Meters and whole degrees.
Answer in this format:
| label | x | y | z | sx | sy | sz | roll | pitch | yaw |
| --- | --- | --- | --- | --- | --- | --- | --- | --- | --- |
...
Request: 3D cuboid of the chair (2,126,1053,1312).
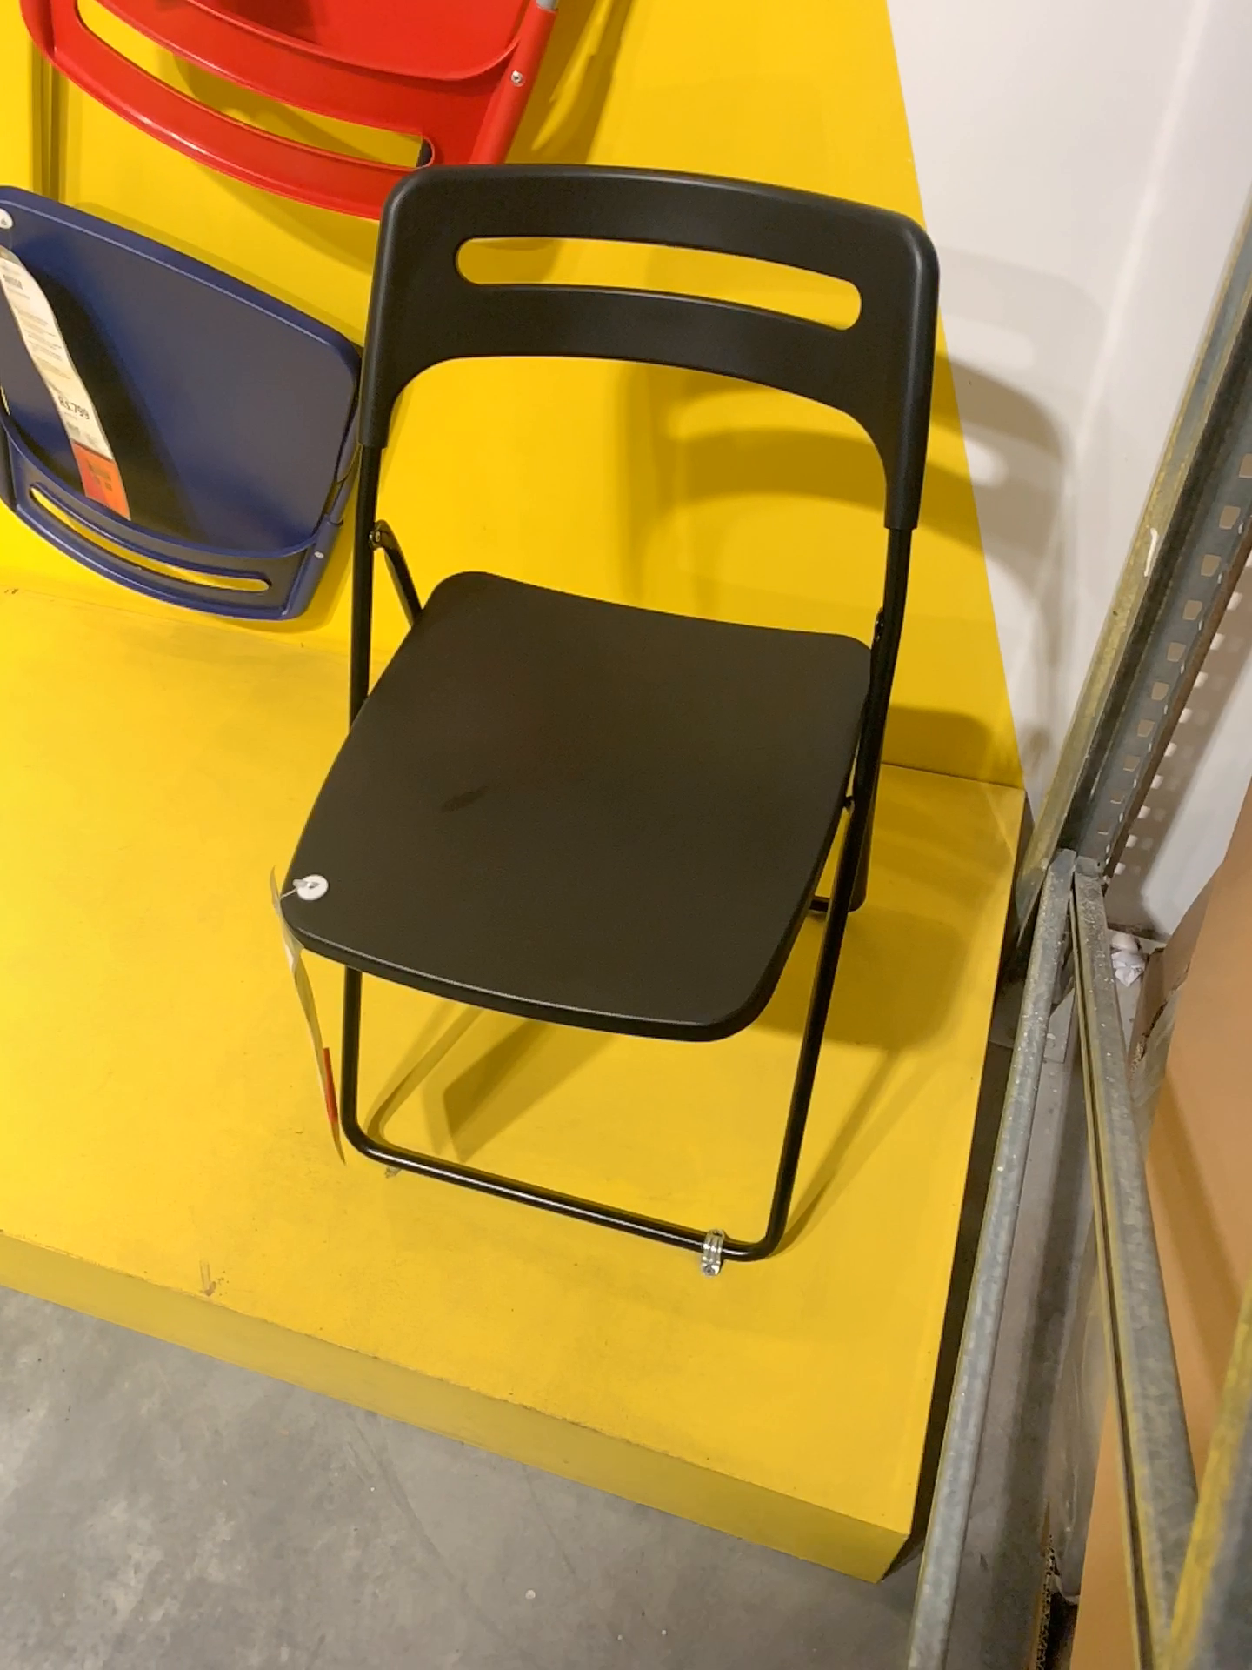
| label | x | y | z | sx | sy | sz | roll | pitch | yaw |
| --- | --- | --- | --- | --- | --- | --- | --- | --- | --- |
| chair | -0.008 | -0.048 | 0.950 | 0.440 | 0.698 | 0.441 | 13 | 51 | 12 |
